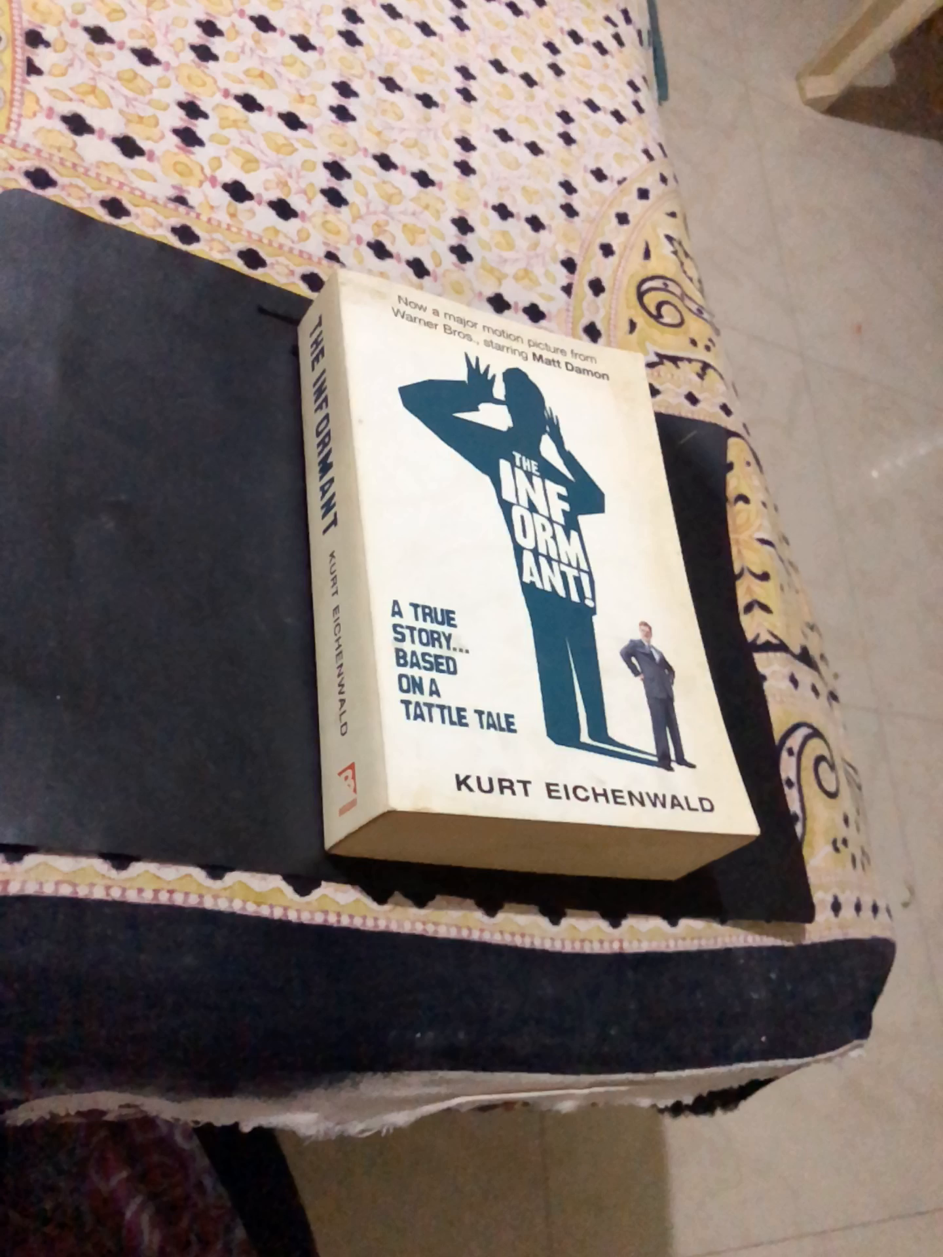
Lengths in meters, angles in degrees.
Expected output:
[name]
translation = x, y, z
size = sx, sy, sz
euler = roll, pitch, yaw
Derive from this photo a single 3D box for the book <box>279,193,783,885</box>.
[book]
translation = 0.011, -0.033, 0.368
size = 0.141, 0.050, 0.230
euler = 10, 56, -28
